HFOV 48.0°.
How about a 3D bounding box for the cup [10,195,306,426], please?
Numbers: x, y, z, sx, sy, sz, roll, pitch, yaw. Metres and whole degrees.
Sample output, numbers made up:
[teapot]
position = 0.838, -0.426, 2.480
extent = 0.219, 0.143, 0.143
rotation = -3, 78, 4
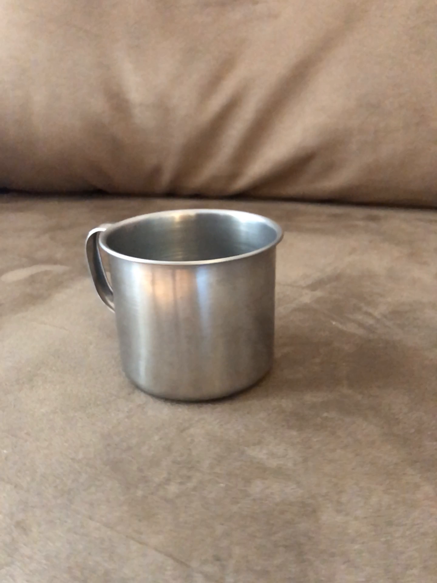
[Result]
[cup]
position = -0.024, -0.002, 0.249
extent = 0.110, 0.070, 0.090
rotation = 10, 25, 26
